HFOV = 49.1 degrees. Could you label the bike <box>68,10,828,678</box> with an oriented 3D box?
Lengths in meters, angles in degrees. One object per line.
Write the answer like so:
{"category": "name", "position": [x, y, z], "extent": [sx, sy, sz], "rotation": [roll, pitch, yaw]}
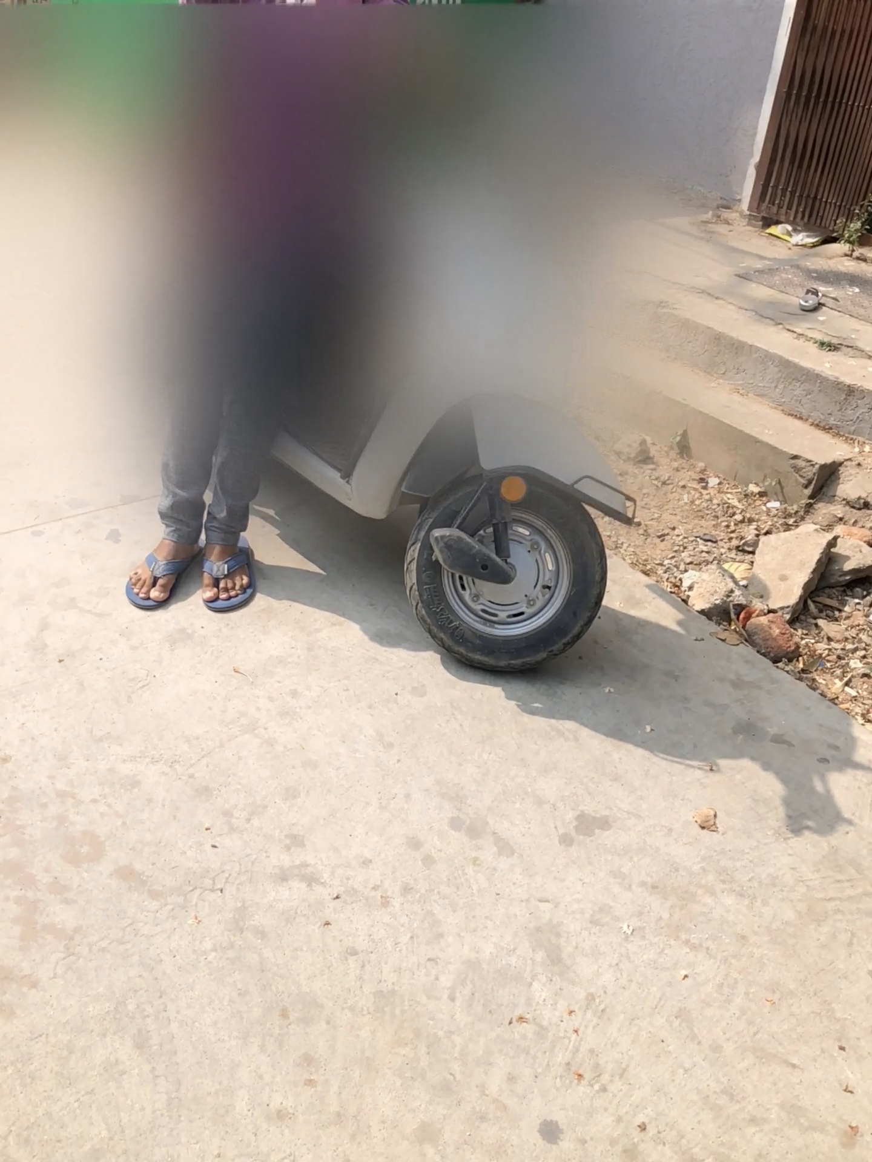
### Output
{"category": "bike", "position": [-0.091, -0.669, 2.242], "extent": [1.522, 1.007, 0.650], "rotation": [31, 42, 34]}
